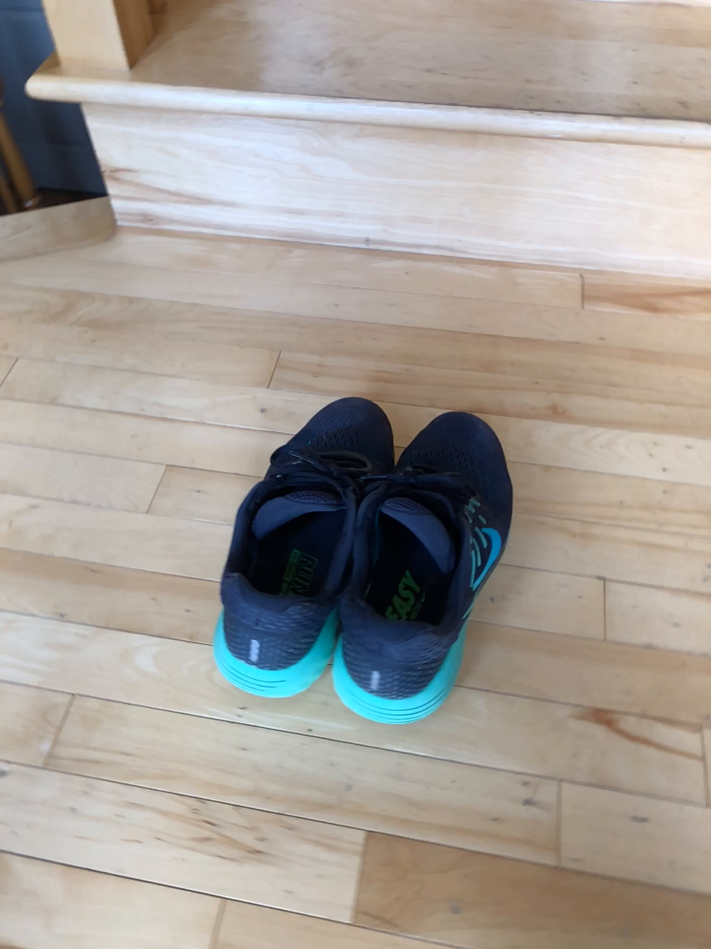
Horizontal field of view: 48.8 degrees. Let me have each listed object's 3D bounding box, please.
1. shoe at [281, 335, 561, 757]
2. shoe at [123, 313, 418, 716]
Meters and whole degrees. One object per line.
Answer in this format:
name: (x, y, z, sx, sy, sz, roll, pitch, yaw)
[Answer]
shoe: (0.060, 0.038, 0.592, 0.120, 0.100, 0.291, 15, 53, 13)
shoe: (-0.047, 0.016, 0.608, 0.120, 0.100, 0.291, 12, 53, 11)
